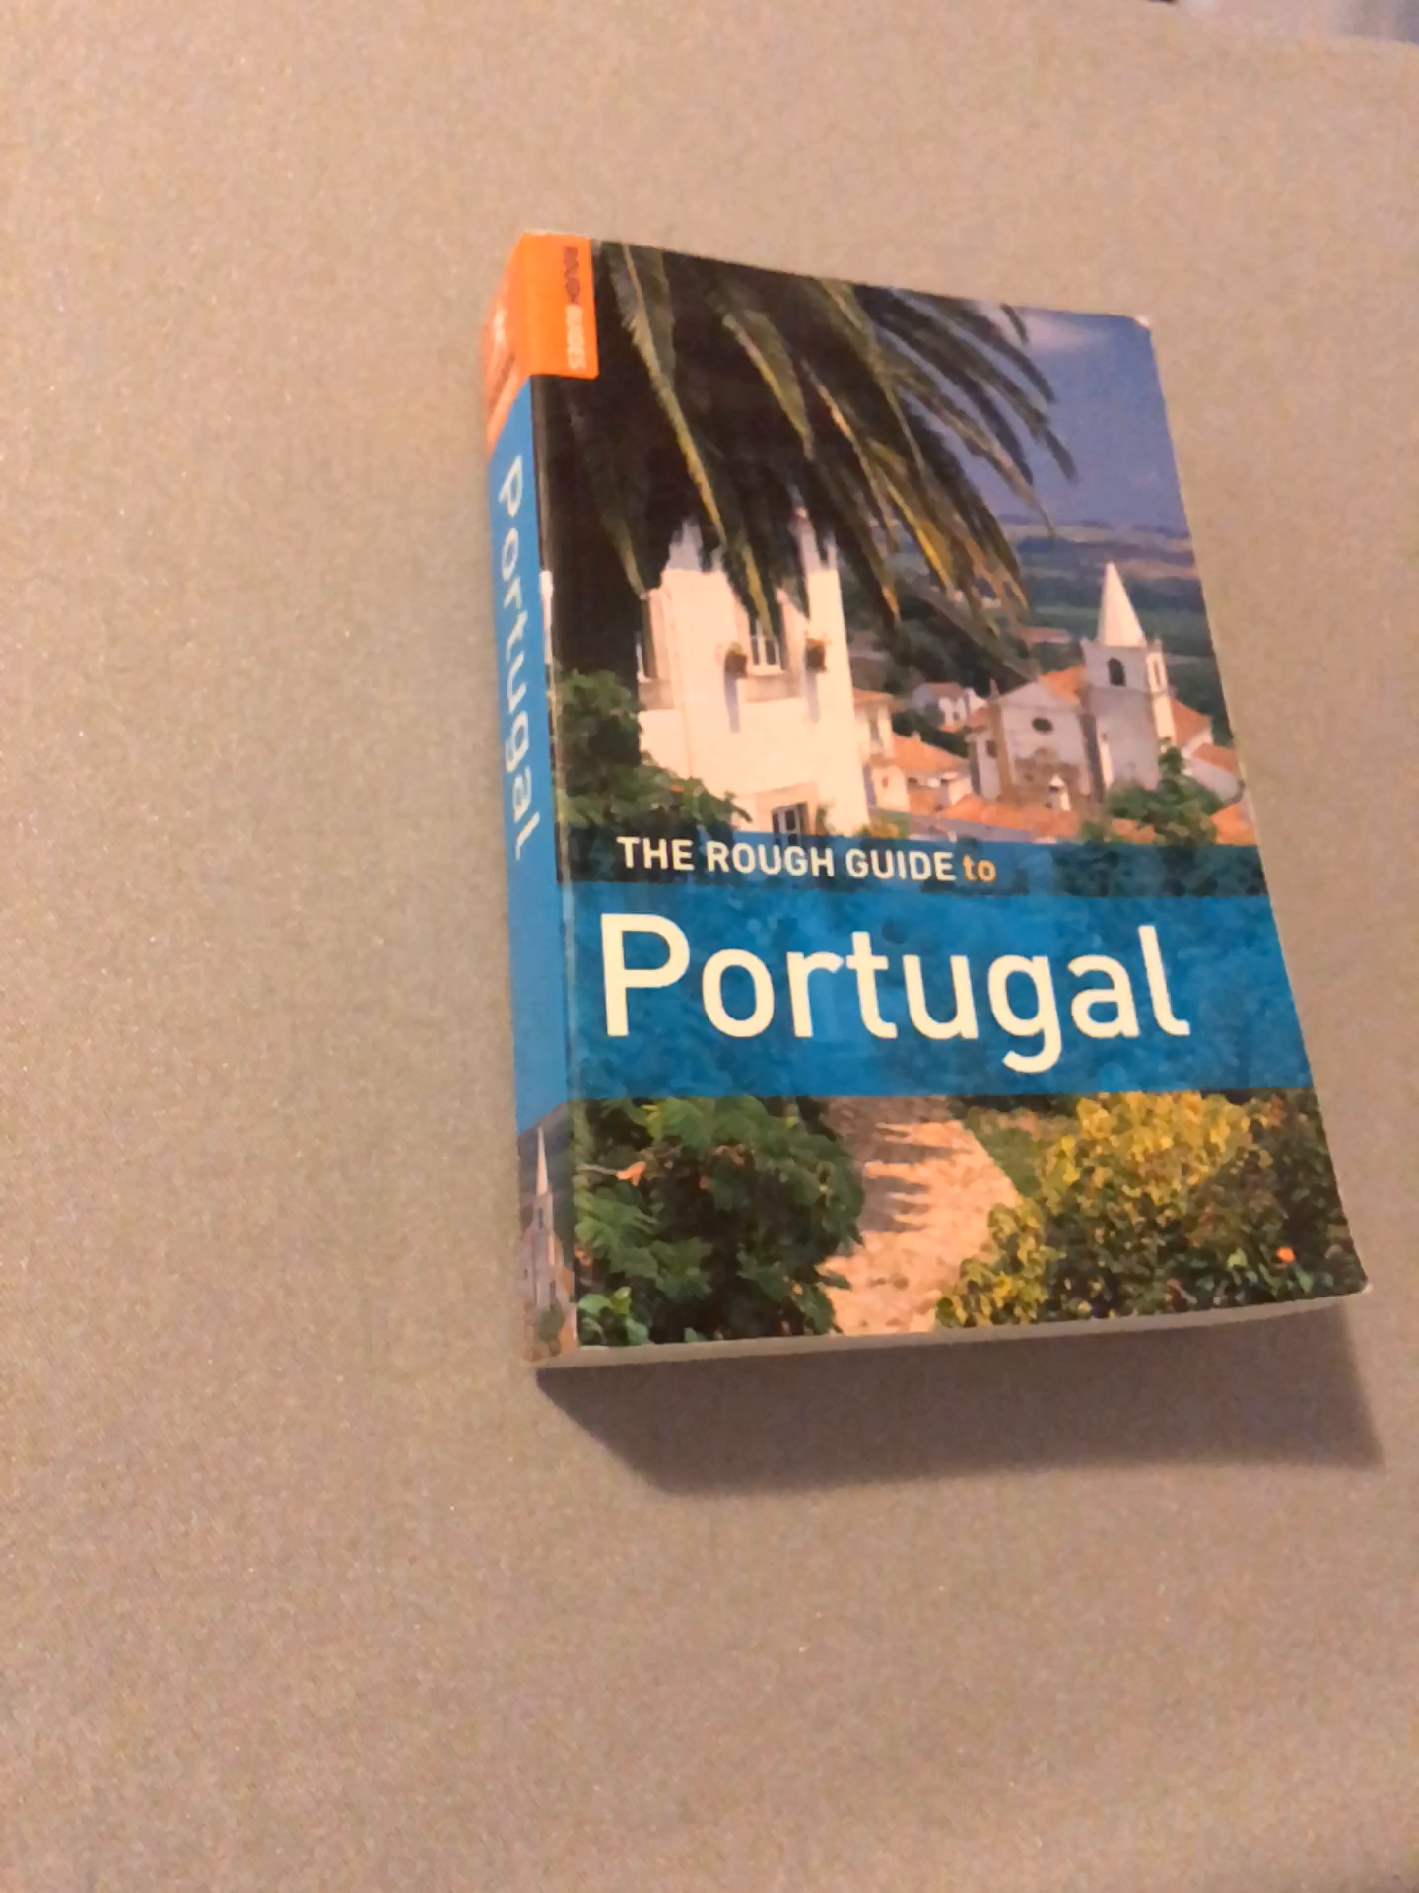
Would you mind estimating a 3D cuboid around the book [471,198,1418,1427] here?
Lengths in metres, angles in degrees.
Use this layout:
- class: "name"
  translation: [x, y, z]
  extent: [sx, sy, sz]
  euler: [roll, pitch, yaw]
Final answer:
- class: "book"
  translation: [0.034, -0.027, 0.285]
  extent: [0.139, 0.040, 0.204]
  euler: [1, 70, -18]
